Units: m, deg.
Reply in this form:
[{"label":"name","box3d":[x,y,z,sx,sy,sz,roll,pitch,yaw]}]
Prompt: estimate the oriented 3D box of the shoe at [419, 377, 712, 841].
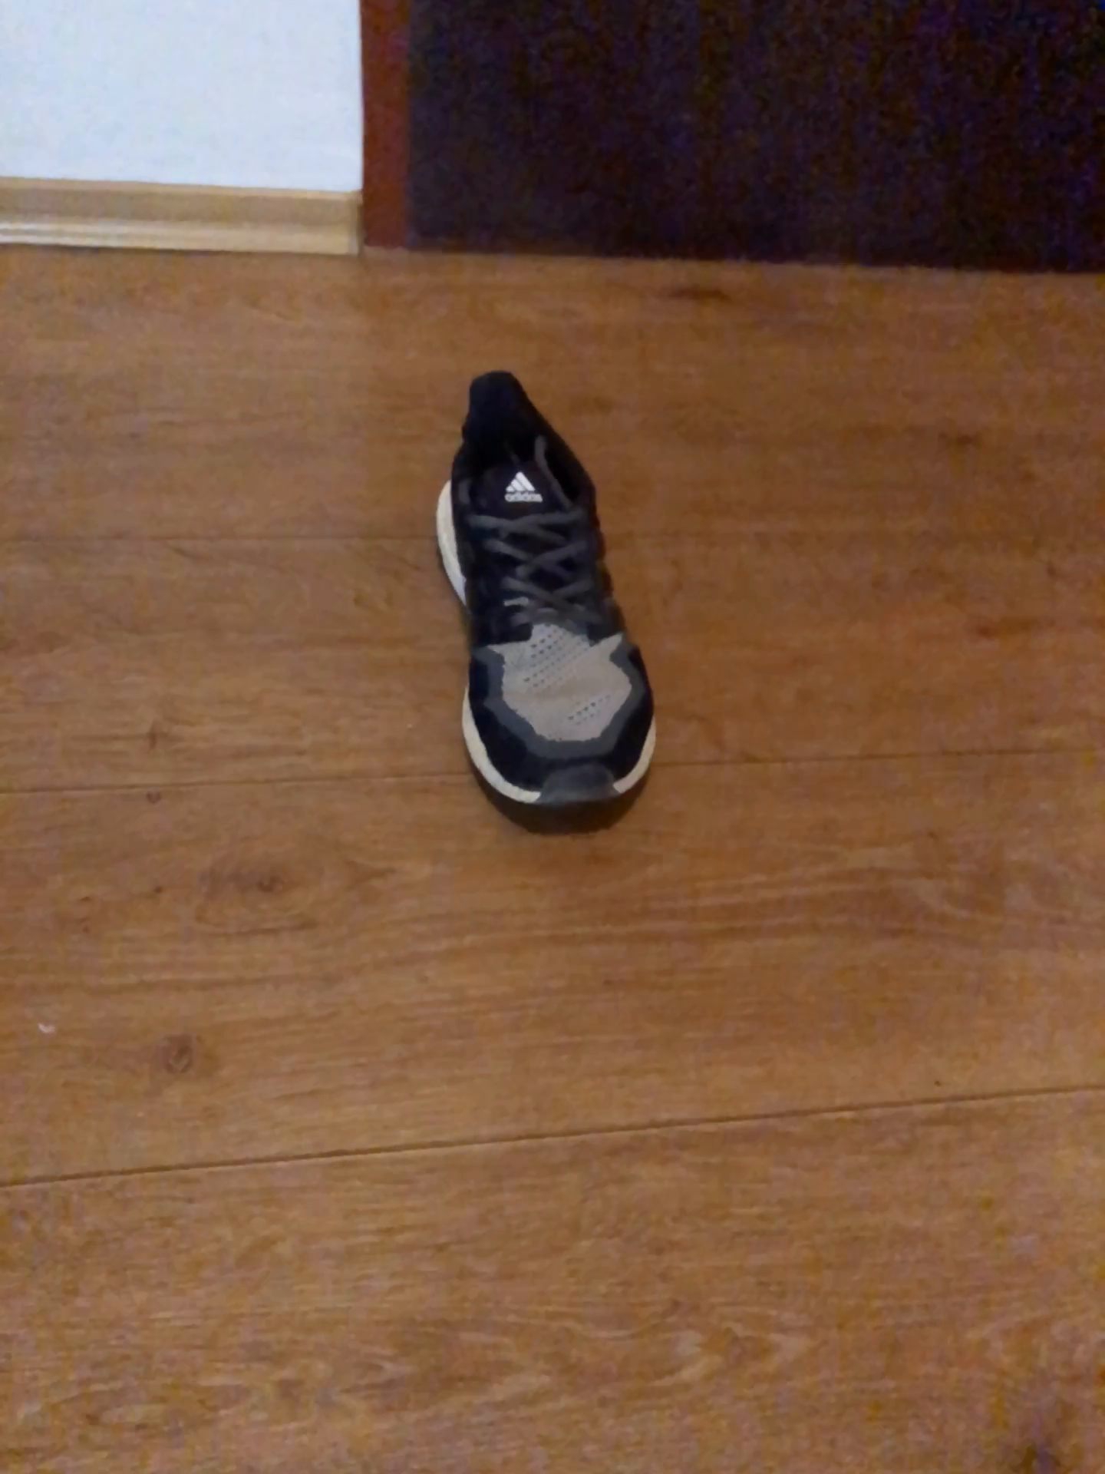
[{"label":"shoe","box3d":[-0.007,-0.083,0.669,0.113,0.099,0.272,-2,46,-10]}]
